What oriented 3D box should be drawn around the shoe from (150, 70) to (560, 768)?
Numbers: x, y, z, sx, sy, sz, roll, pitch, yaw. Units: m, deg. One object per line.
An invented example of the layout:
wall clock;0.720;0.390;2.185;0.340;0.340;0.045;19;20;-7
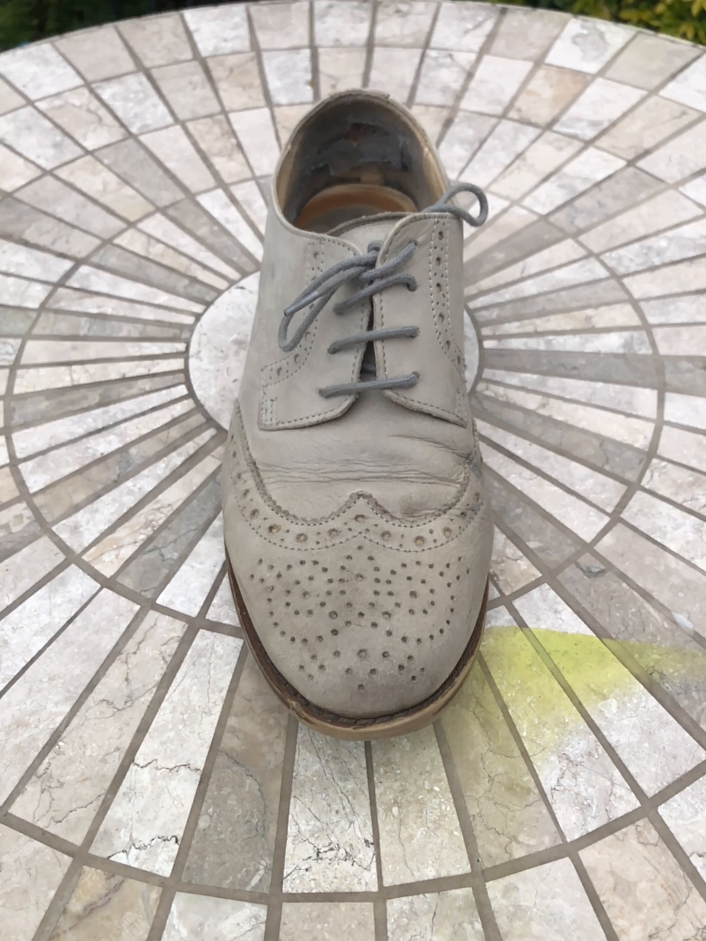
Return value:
shoe;0.001;-0.038;0.280;0.090;0.078;0.258;-1;54;1
